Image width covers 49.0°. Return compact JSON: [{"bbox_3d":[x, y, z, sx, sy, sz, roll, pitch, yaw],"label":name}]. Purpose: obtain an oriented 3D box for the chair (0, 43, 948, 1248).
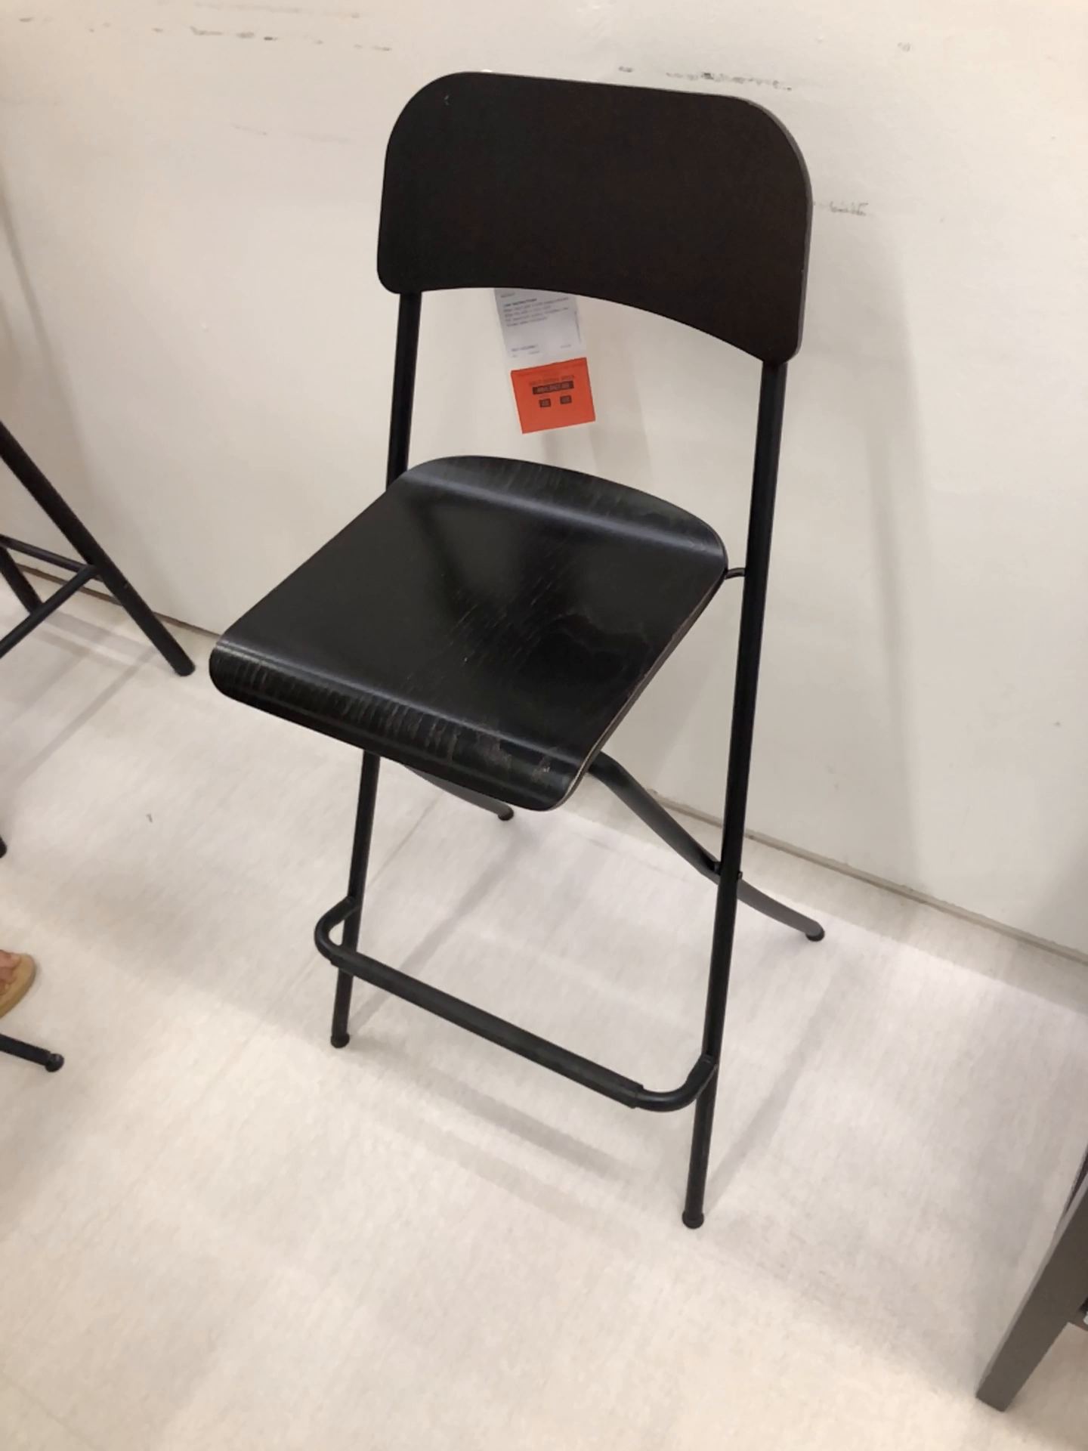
[{"bbox_3d":[-0.013,-0.027,1.065,0.491,0.884,0.472,18,52,24],"label":"chair"}]
